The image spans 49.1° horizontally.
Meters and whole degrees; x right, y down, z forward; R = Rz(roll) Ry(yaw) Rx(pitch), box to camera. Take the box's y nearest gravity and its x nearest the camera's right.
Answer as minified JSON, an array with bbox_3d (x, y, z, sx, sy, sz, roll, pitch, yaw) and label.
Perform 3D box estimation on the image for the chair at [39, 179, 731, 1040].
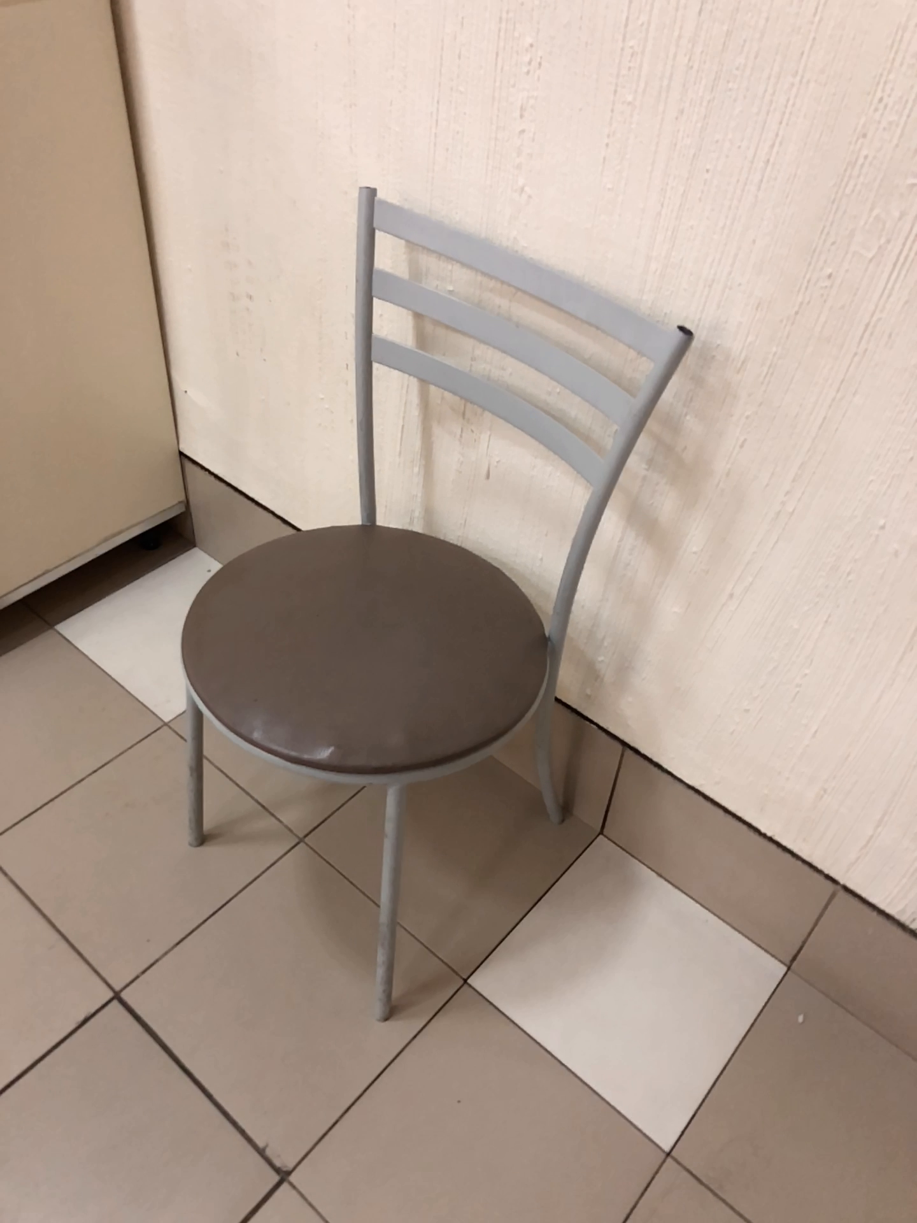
[{"bbox_3d":[-0.080,0.015,1.135,0.431,0.764,0.422,32,49,26],"label":"chair"}]
